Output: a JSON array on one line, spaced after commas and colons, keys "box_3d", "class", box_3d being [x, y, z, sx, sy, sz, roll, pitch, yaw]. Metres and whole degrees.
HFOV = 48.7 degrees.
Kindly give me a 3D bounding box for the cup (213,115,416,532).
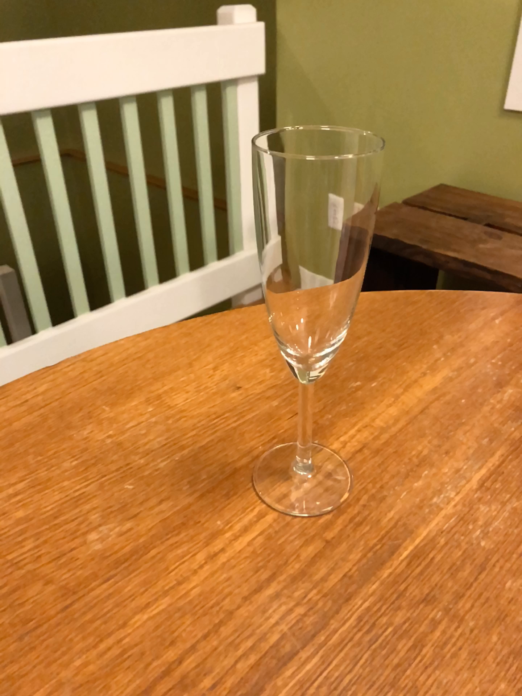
[{"box_3d": [0.028, -0.008, 0.326, 0.066, 0.215, 0.074, 20, 37, 29], "class": "cup"}]
